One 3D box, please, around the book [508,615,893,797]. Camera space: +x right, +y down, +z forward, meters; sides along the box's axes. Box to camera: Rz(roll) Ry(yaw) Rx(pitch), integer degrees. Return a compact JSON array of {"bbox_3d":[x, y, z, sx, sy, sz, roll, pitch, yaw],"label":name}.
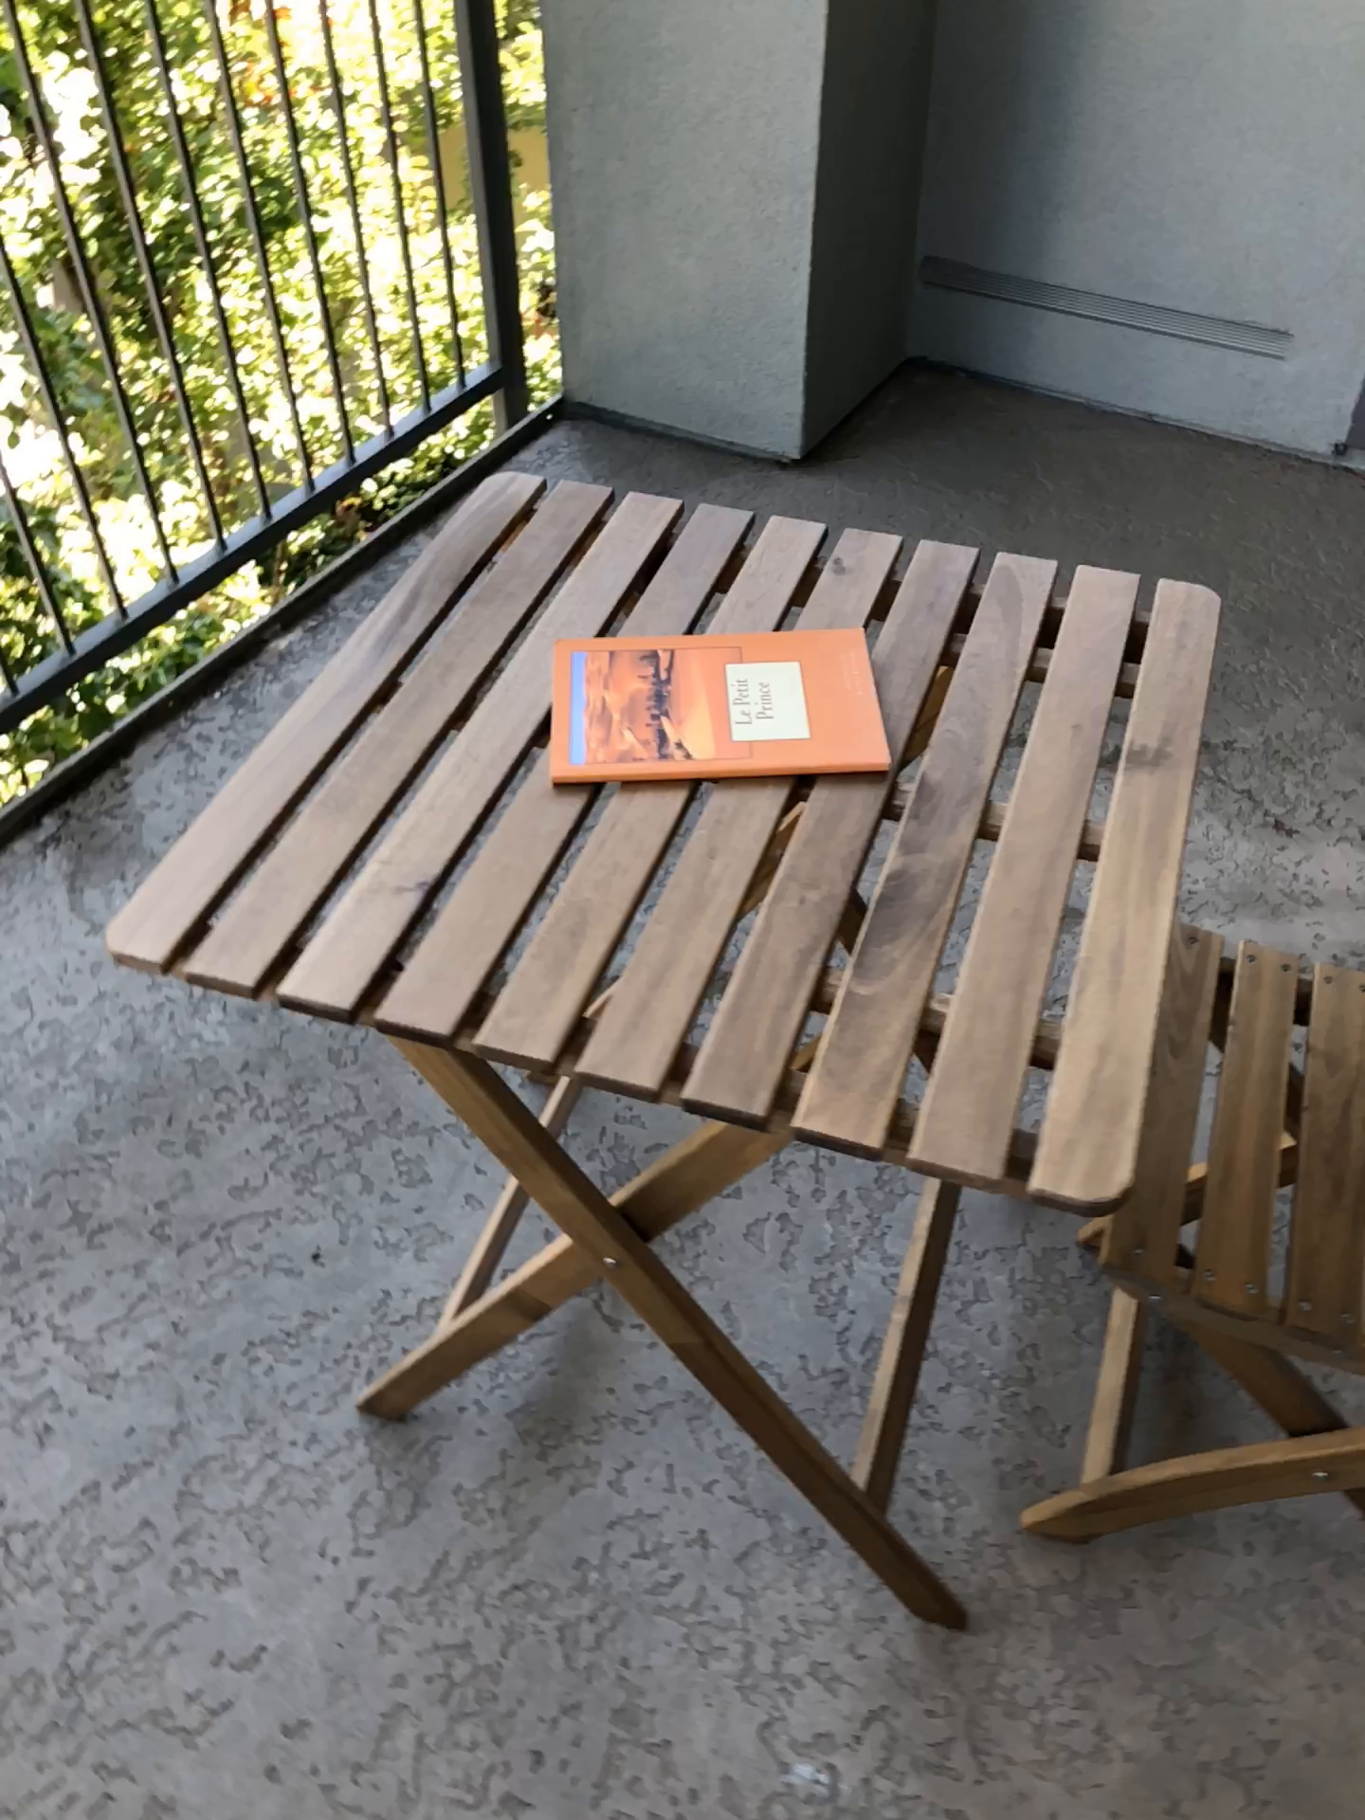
[{"bbox_3d":[0.008,-0.145,1.046,0.250,0.010,0.181,-2,46,-2],"label":"book"}]
